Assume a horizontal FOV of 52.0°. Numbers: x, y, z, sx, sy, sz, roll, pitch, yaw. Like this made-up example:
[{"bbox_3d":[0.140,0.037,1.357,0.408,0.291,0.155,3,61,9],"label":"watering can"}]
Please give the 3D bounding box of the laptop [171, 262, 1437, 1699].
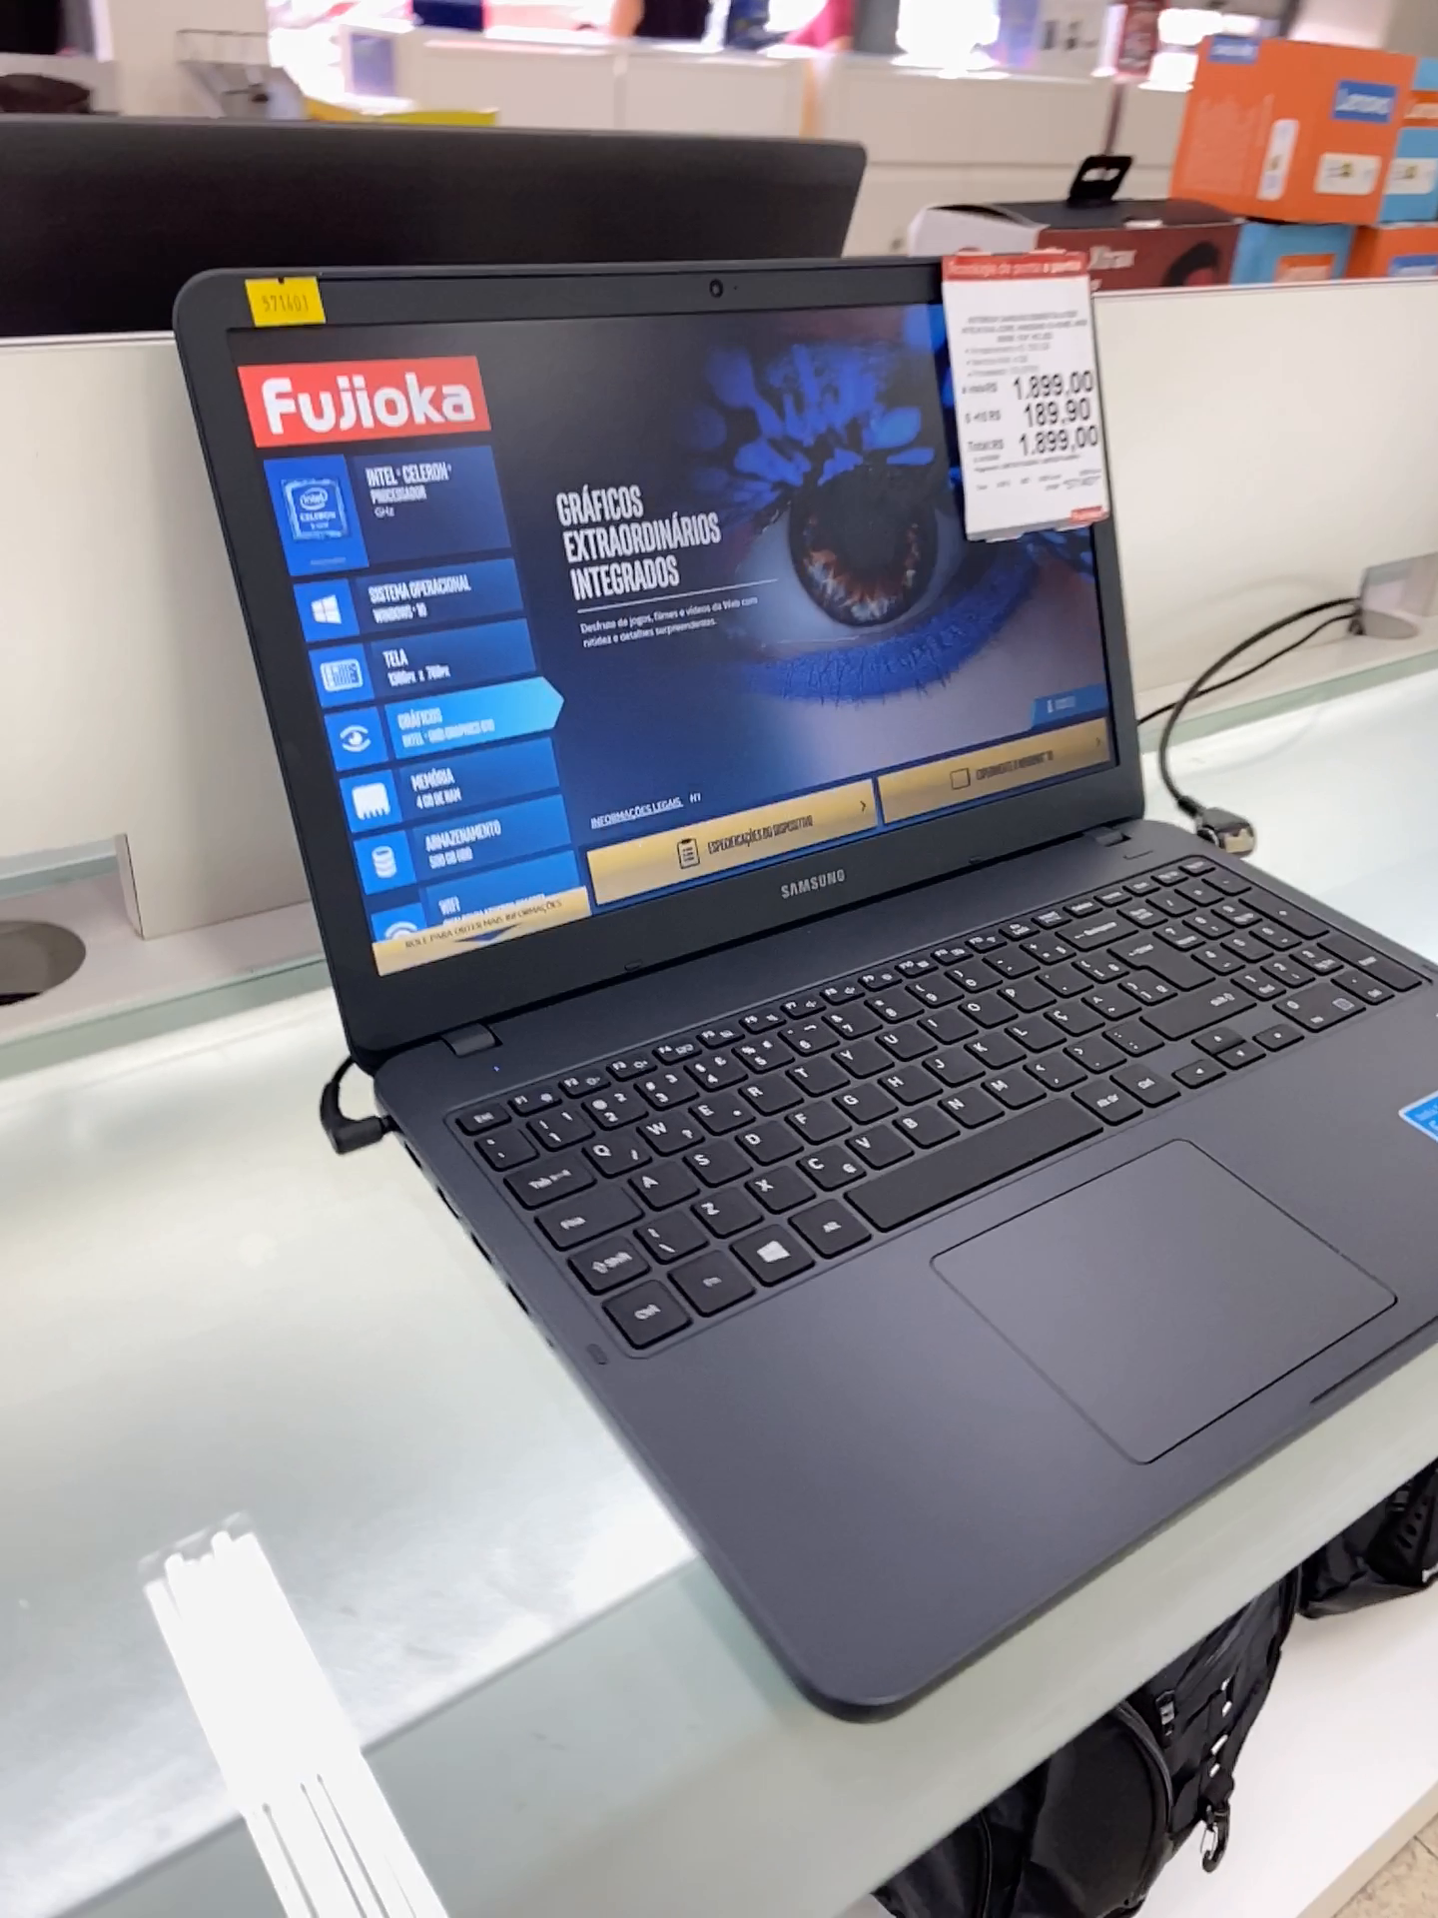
[{"bbox_3d":[0.086,-0.069,0.452,0.367,0.207,0.347,-17,39,-30],"label":"laptop"}]
